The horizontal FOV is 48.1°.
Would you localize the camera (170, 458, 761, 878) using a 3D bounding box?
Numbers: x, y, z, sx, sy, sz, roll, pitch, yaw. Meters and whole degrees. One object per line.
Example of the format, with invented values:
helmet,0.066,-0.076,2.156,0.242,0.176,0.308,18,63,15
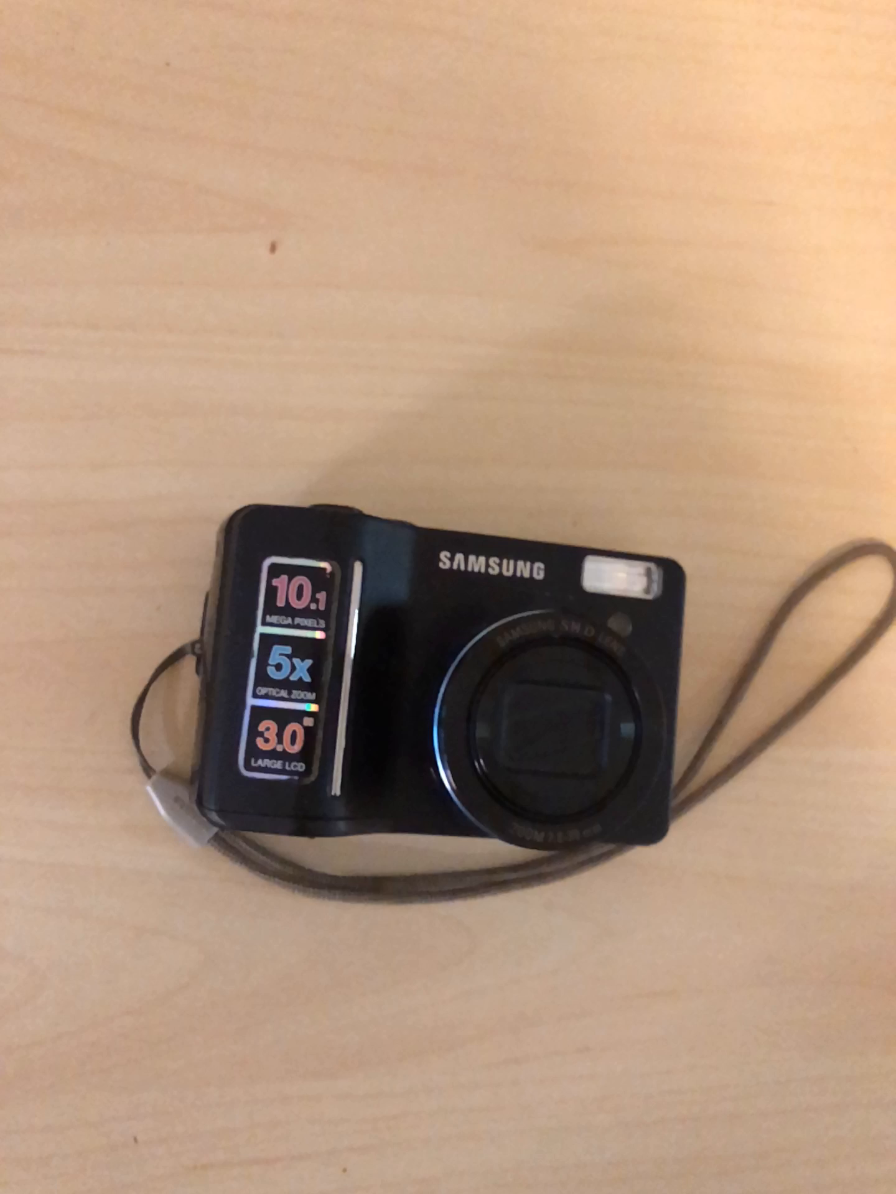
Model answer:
camera,0.004,0.016,0.206,0.110,0.030,0.070,6,84,-11
